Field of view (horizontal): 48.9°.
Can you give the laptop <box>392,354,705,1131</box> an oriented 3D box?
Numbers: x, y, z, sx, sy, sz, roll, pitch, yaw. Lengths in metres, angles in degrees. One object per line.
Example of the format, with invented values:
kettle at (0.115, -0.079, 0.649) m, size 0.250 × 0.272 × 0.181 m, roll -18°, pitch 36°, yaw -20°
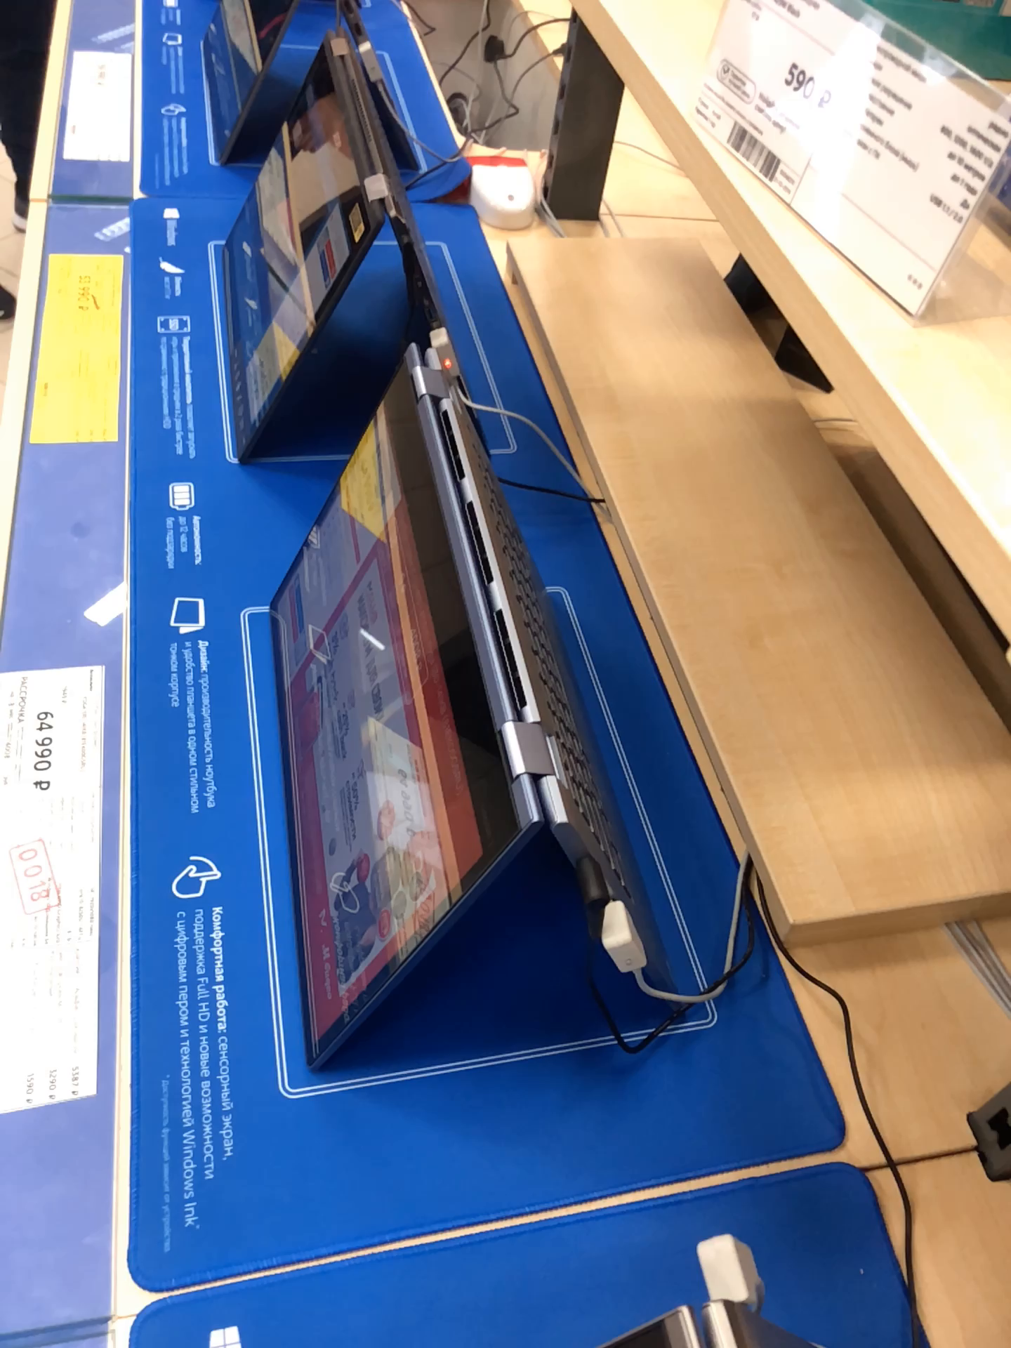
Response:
laptop at (0.018, 0.068, 0.703) m, size 0.221 × 0.157 × 0.306 m, roll 24°, pitch 36°, yaw -41°
